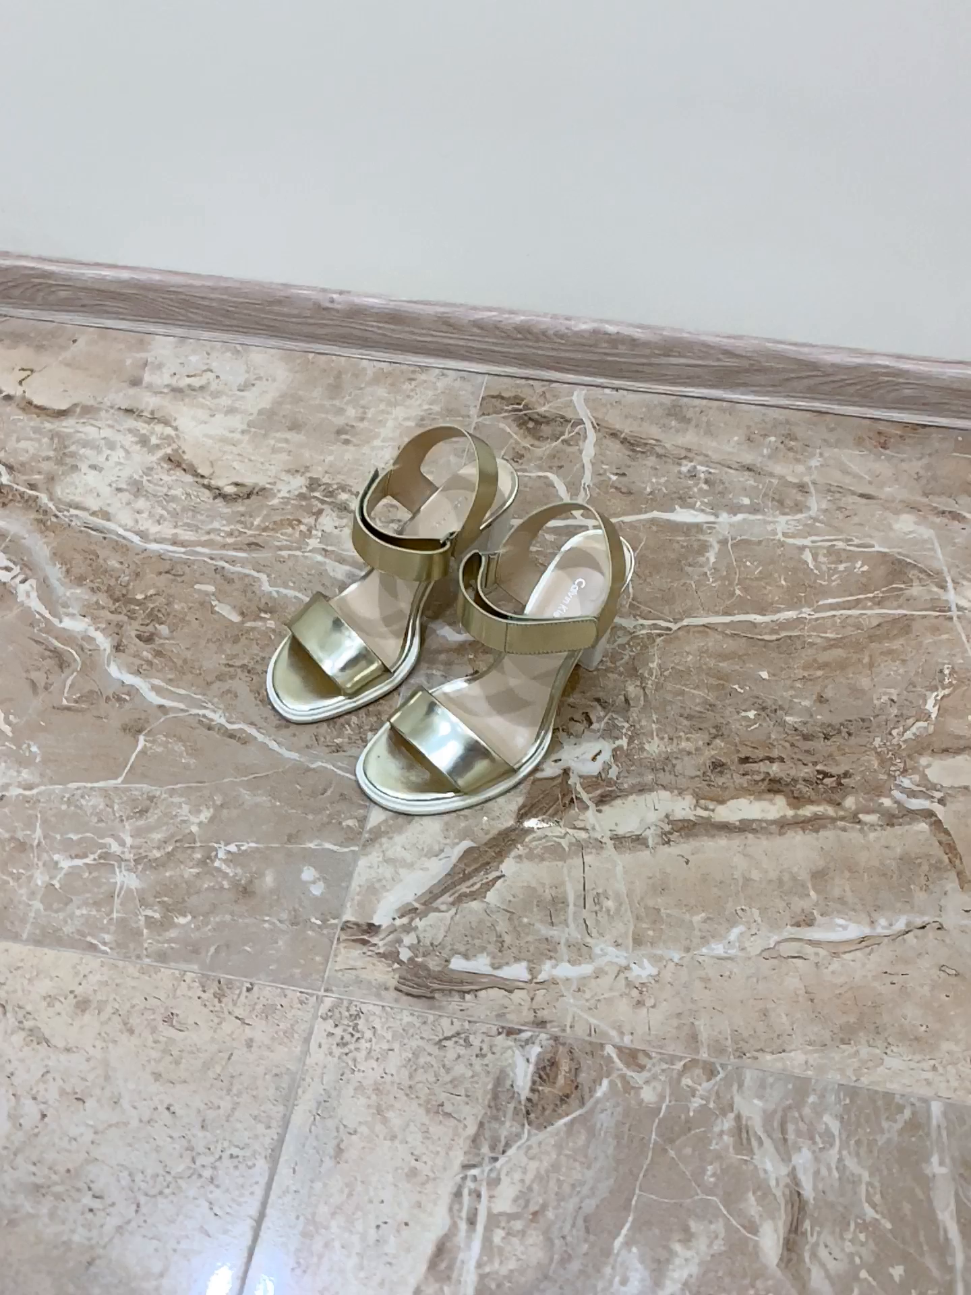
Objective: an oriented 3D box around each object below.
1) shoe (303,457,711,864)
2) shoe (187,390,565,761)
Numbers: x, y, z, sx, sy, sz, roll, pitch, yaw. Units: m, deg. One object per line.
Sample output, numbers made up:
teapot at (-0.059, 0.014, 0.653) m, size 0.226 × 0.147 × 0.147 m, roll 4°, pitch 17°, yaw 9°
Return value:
shoe at (0.016, 0.002, 0.618) m, size 0.230 × 0.119 × 0.100 m, roll -35°, pitch 60°, yaw -27°
shoe at (-0.065, -0.052, 0.662) m, size 0.220 × 0.129 × 0.096 m, roll -35°, pitch 60°, yaw -27°
